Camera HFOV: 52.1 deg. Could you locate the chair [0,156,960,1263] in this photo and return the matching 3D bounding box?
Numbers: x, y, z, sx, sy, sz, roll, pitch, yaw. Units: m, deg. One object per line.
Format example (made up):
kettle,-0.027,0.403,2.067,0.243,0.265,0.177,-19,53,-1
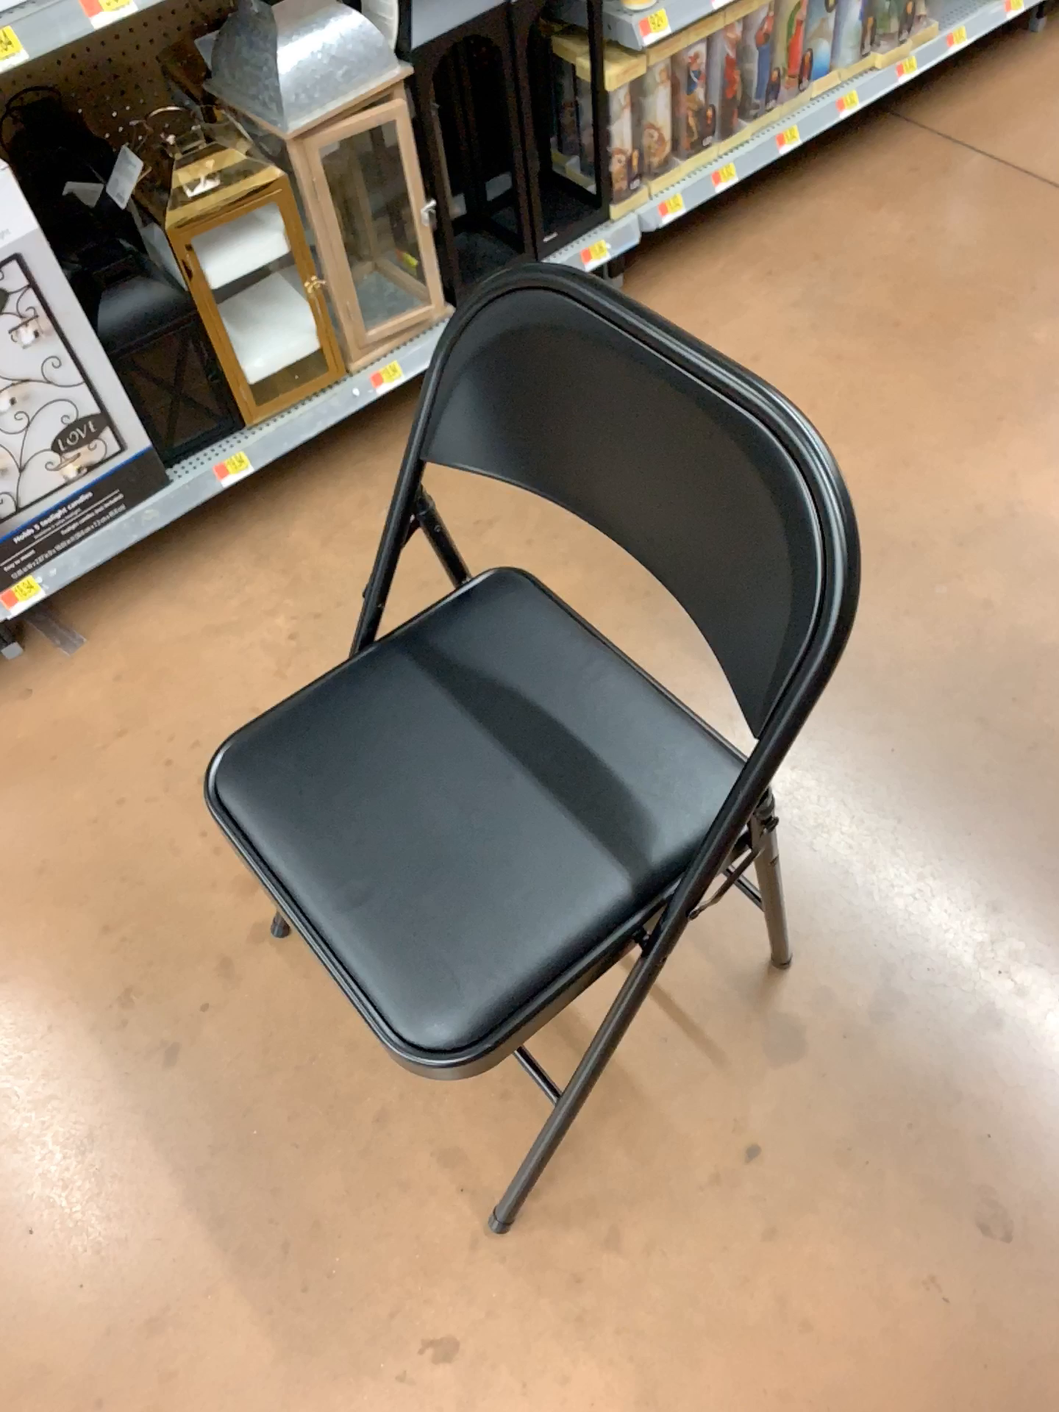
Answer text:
chair,-0.061,0.057,0.919,0.470,0.698,0.471,-37,60,-17
